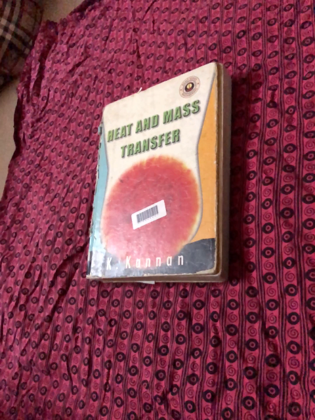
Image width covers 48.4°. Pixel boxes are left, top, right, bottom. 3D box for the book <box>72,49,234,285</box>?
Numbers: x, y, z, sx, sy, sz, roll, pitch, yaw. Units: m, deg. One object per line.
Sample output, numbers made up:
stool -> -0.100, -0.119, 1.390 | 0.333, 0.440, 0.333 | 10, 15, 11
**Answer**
book -> -0.005, -0.041, 0.415 | 0.185, 0.039, 0.249 | -8, 68, 35
